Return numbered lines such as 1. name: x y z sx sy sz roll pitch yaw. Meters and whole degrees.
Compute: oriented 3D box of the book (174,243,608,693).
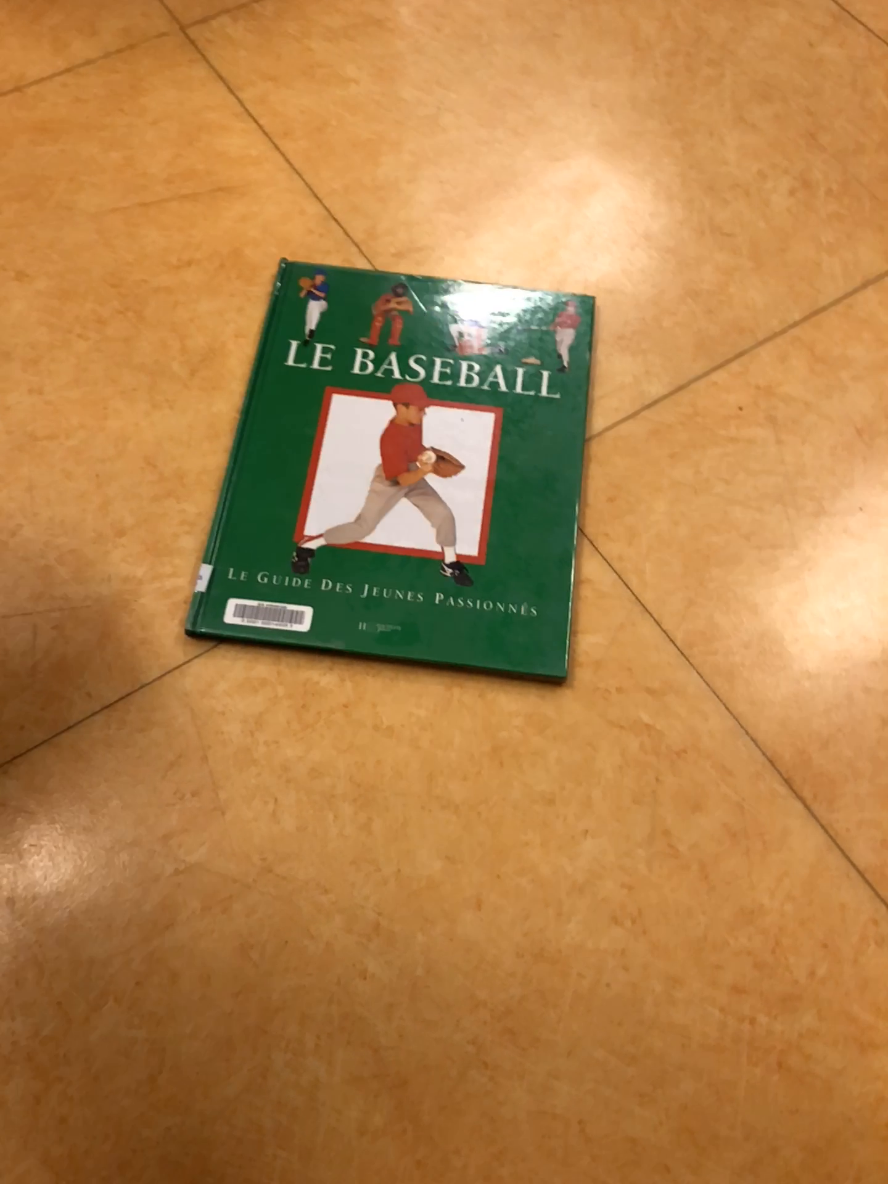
1. book: -0.019 -0.088 0.589 0.219 0.020 0.281 7 64 1
